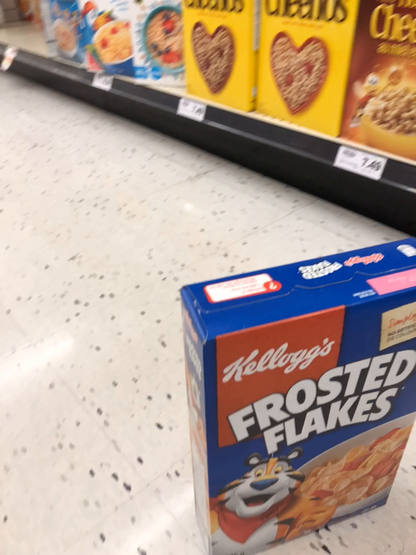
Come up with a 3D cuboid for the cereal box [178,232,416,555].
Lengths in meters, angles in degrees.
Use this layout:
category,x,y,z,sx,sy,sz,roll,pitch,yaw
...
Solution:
category,x,y,z,sx,sy,sz,roll,pitch,yaw
cereal box,0.087,0.121,0.396,0.200,0.288,0.070,-12,37,-15
